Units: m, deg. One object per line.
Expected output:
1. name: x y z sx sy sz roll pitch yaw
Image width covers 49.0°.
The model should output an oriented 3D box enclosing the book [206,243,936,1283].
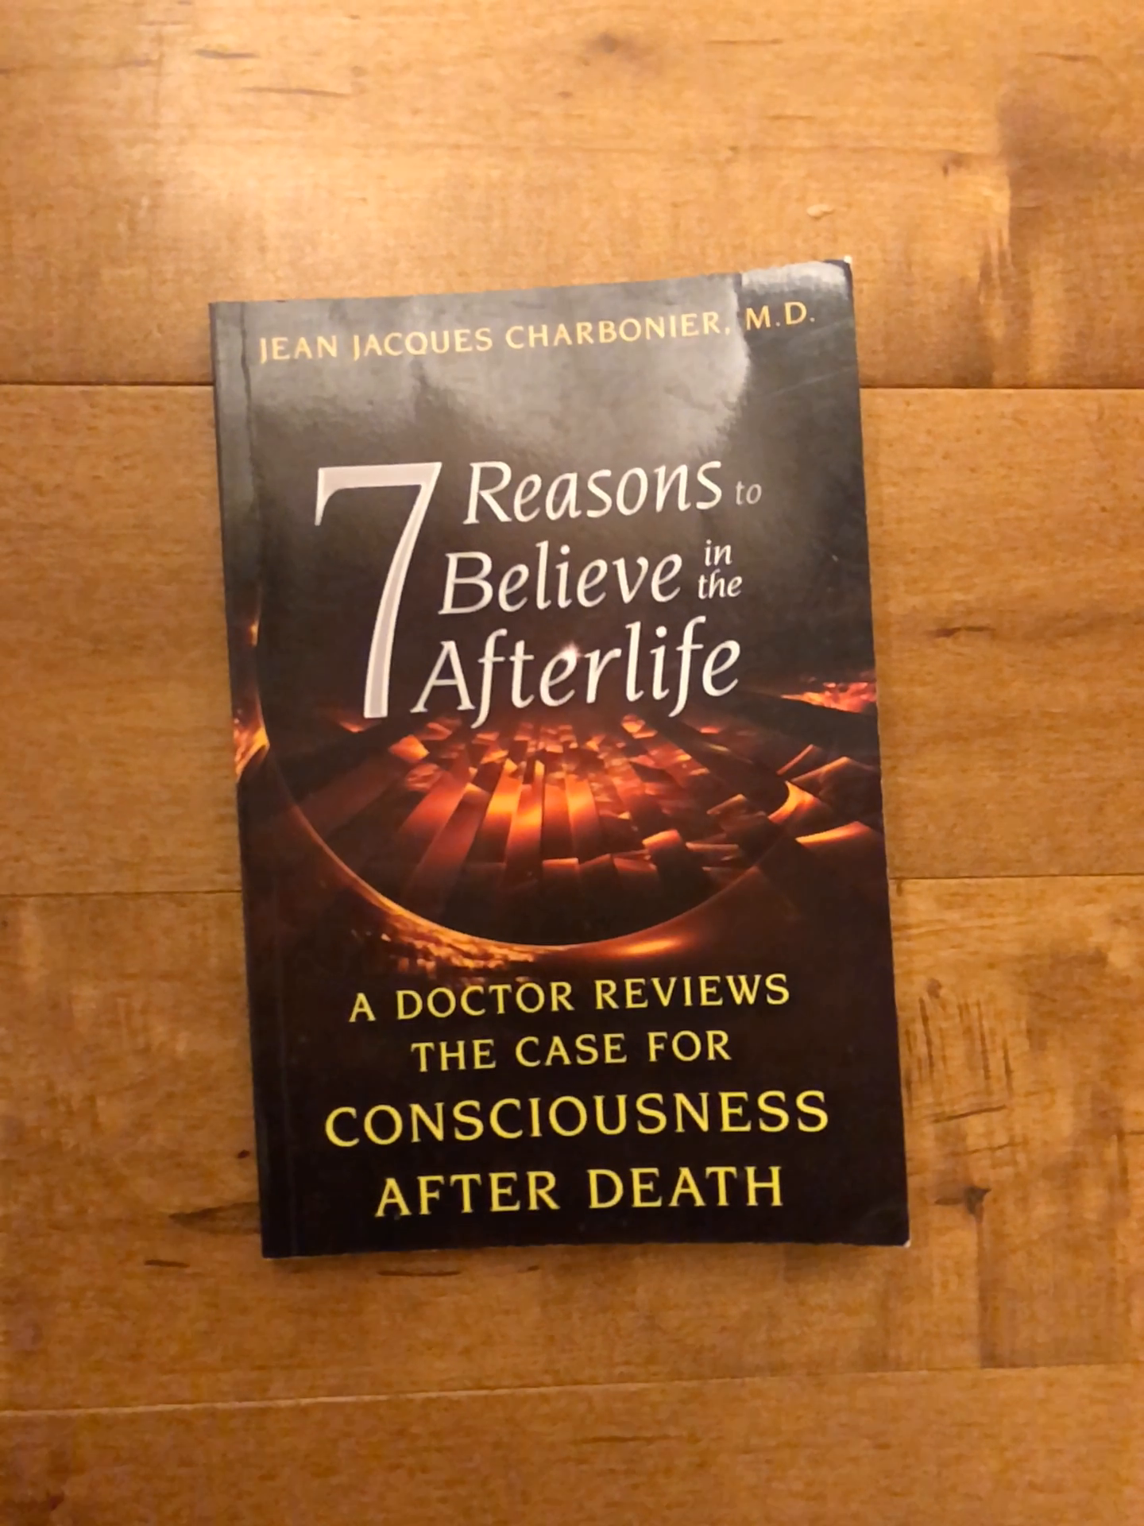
1. book: -0.001 0.002 0.326 0.170 0.030 0.250 -3 90 4
